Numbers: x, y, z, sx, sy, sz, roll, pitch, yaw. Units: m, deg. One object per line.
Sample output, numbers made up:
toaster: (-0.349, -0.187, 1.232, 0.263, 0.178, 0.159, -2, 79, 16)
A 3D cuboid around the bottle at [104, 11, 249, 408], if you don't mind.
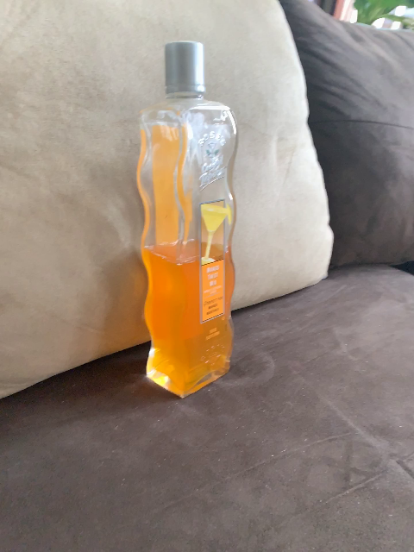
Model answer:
bottle: (-0.021, -0.047, 0.376, 0.080, 0.299, 0.080, -1, 17, 0)
